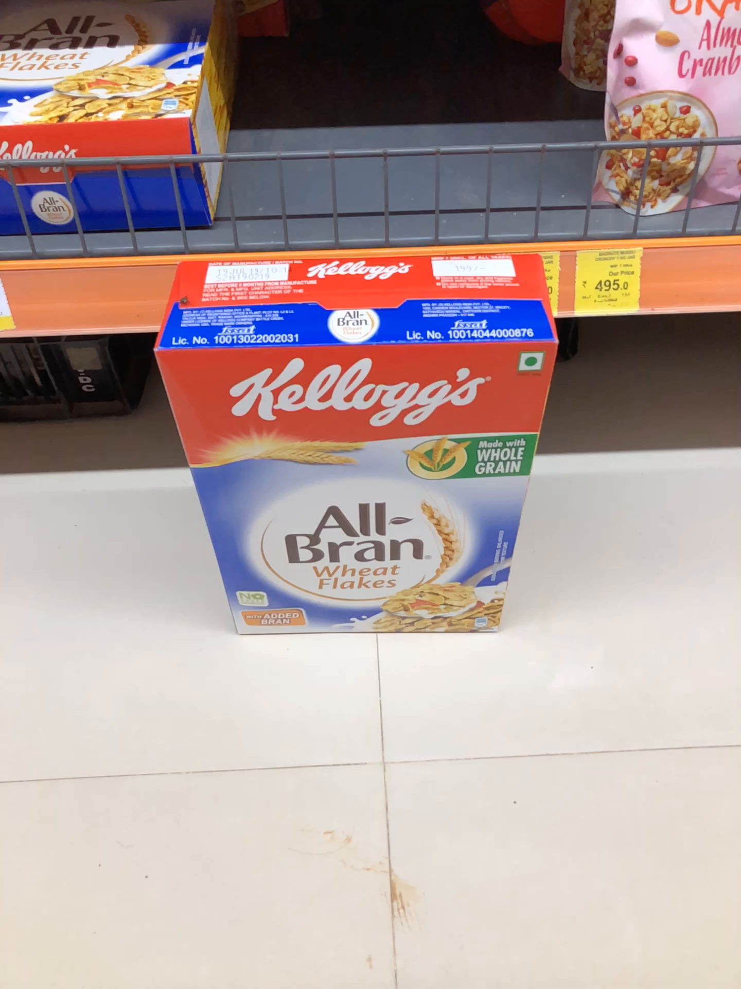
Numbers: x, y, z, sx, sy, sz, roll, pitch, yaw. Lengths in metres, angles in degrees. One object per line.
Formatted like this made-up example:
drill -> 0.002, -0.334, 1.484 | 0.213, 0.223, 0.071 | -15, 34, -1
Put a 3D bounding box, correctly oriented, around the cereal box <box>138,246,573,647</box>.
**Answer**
cereal box -> -0.005, -0.010, 0.481 | 0.190, 0.258, 0.080 | -1, 51, 1
